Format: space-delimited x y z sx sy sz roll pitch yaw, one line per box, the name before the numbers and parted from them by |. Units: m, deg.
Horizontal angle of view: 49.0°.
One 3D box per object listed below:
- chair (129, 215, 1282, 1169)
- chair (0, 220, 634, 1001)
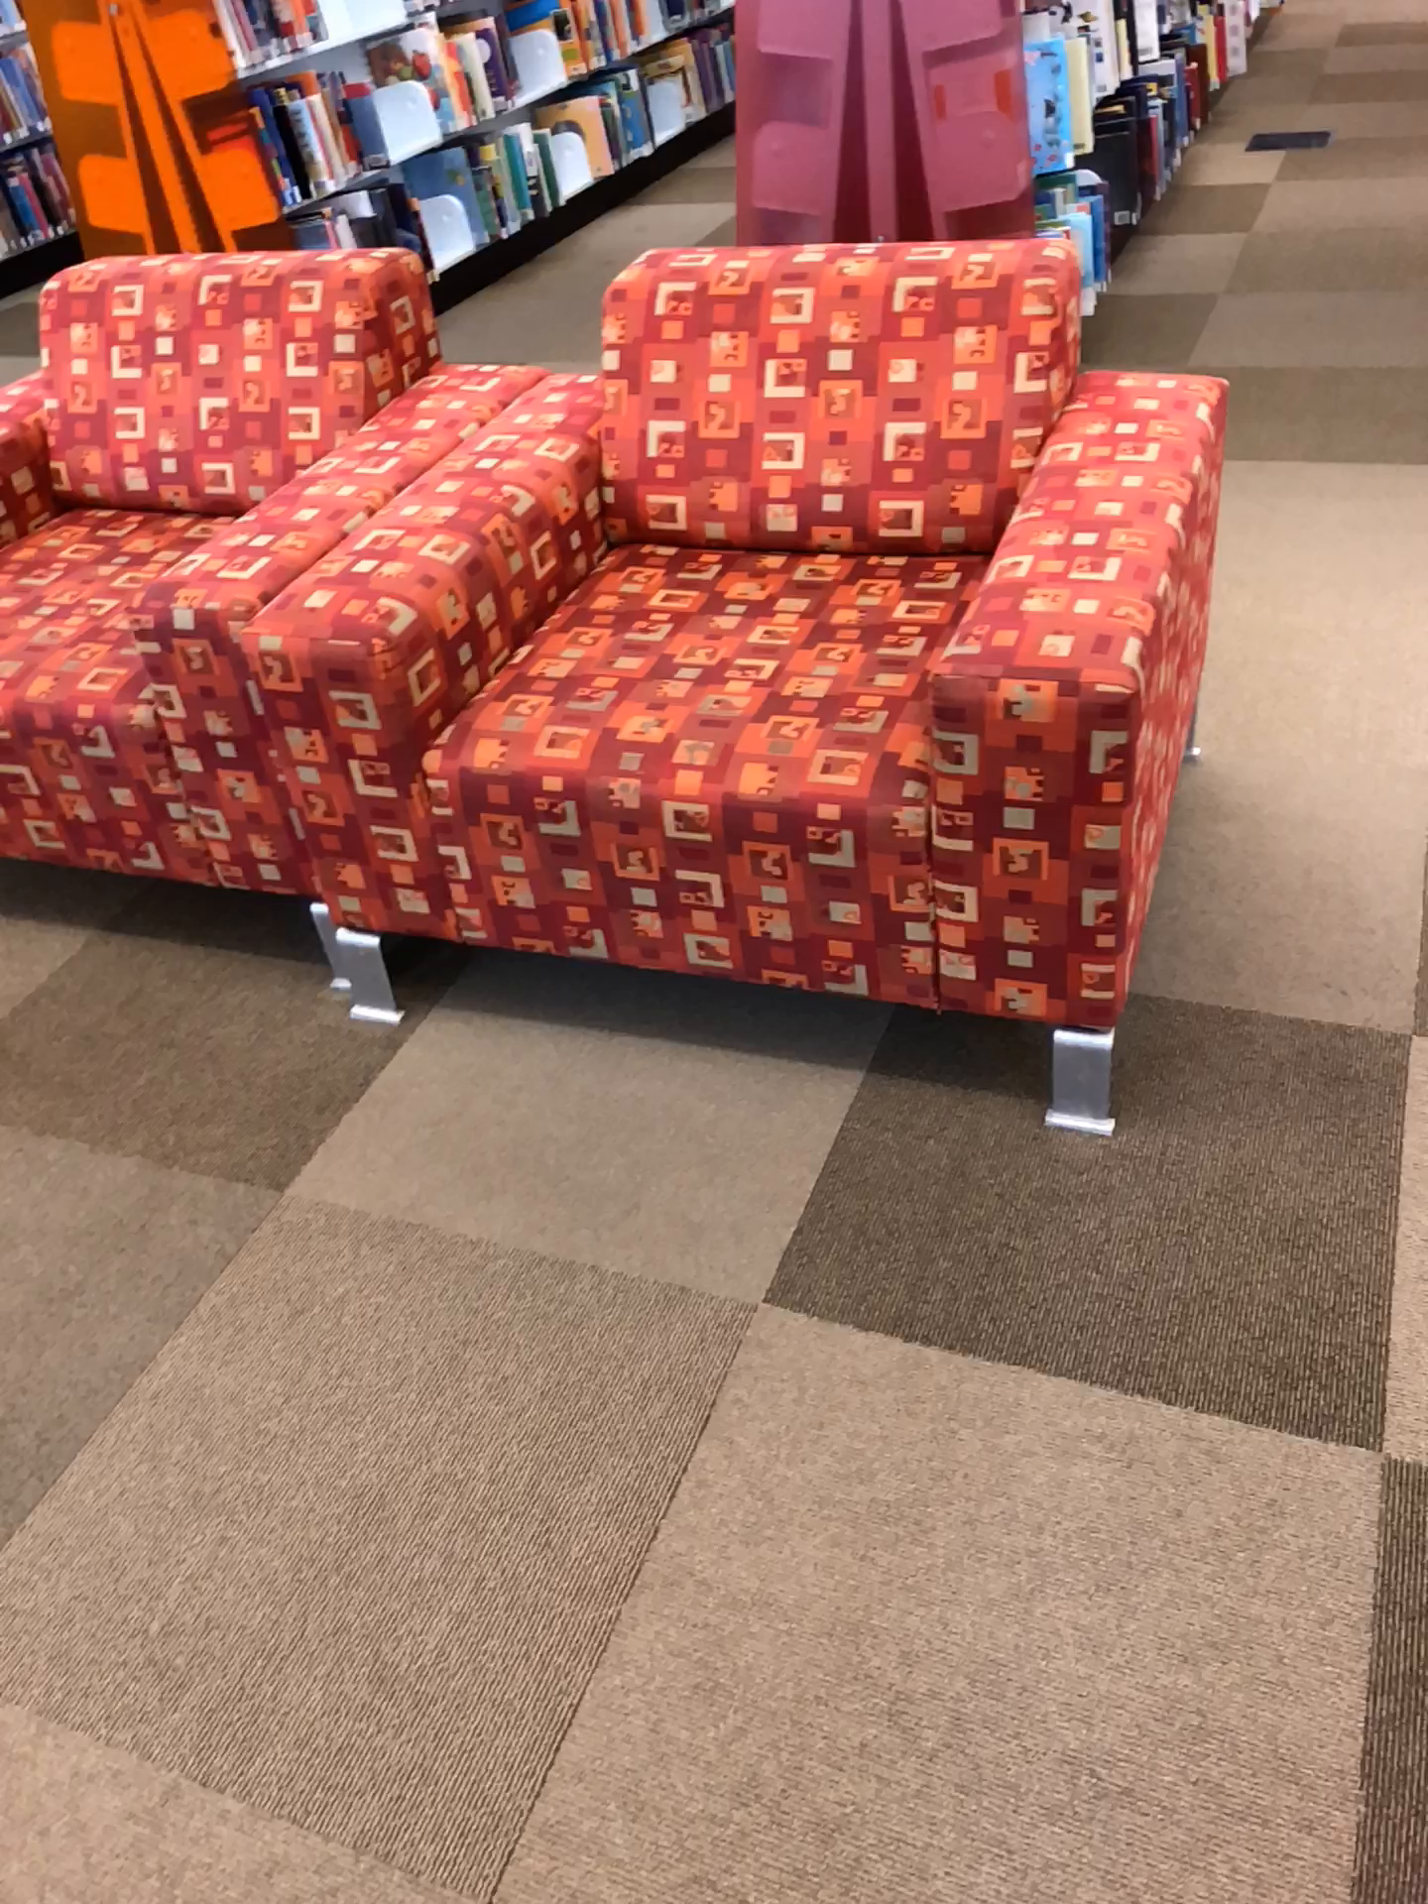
chair | 0.096 -0.410 1.950 1.003 0.686 0.995 8 39 20
chair | -0.772 -0.565 2.317 0.920 0.716 0.955 8 39 20
